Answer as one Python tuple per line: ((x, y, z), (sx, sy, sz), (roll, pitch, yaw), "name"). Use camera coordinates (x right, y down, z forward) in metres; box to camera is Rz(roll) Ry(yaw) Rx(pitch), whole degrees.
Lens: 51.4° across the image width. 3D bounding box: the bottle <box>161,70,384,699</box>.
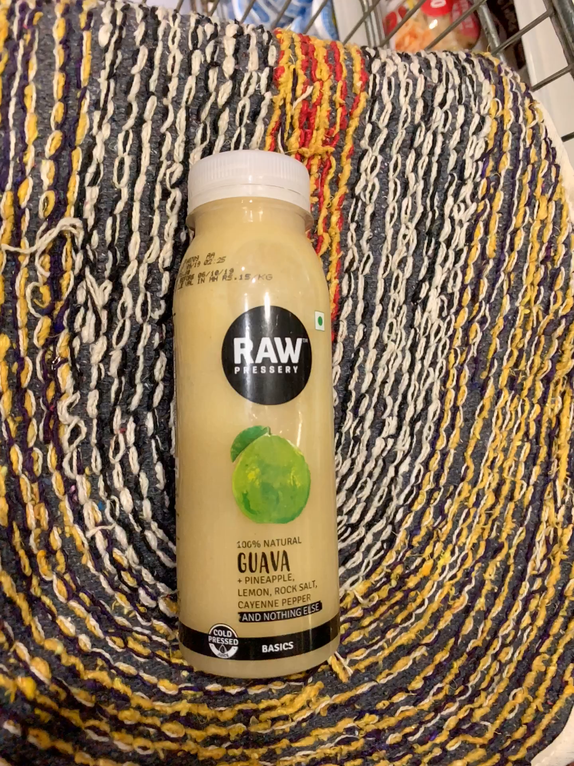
((-0.008, -0.002, 0.178), (0.050, 0.040, 0.160), (-1, 85, -17), "bottle")
